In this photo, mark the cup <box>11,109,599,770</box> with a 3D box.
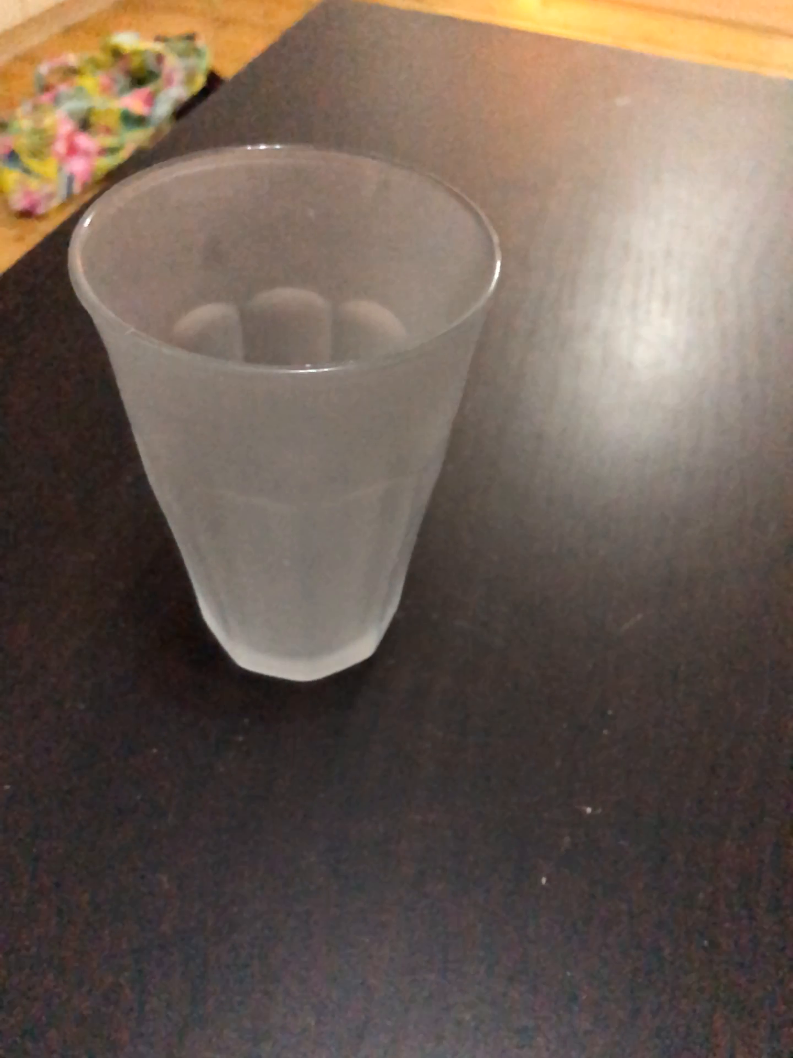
[{"bbox_3d":[-0.027,-0.023,0.239,0.100,0.129,0.090,-17,51,-20],"label":"cup"}]
